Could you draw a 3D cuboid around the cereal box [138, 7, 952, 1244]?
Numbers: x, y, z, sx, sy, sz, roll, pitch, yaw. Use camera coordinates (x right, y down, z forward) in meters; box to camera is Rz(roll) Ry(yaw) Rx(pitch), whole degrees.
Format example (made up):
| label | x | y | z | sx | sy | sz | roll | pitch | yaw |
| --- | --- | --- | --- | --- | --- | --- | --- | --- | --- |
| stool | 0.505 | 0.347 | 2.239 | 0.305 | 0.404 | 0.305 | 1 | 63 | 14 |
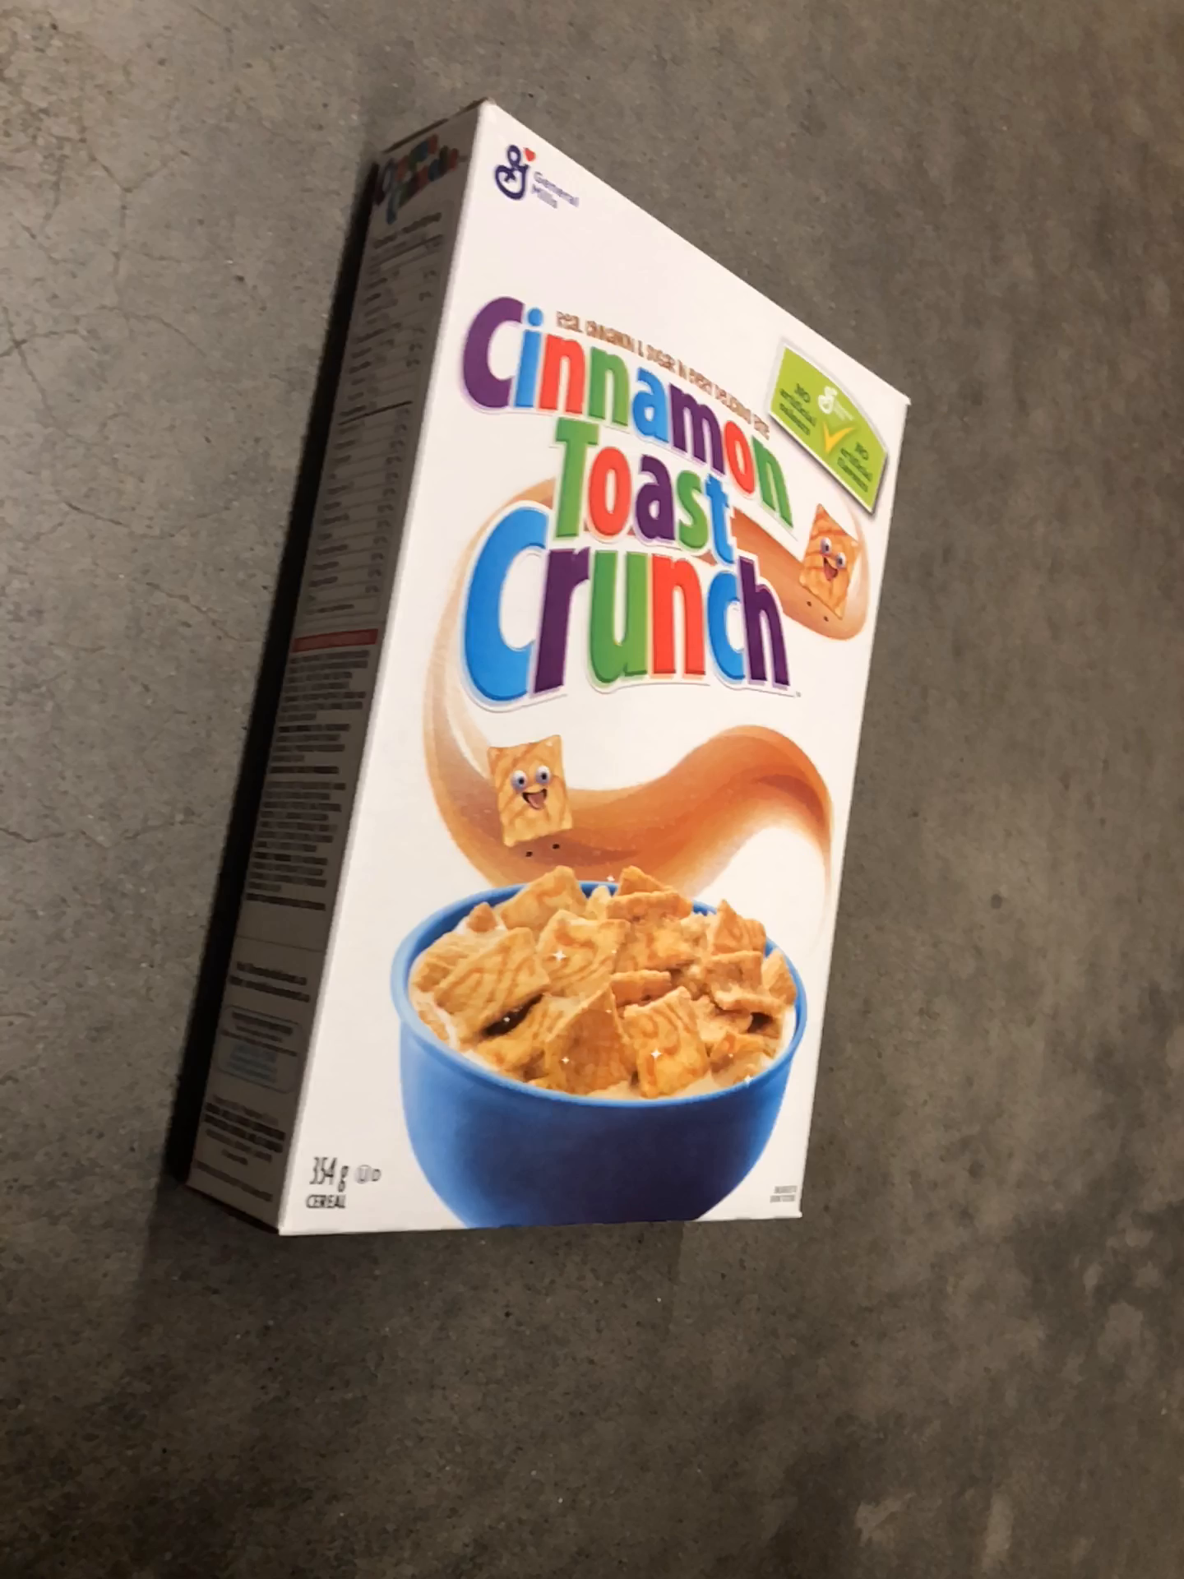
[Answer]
| label | x | y | z | sx | sy | sz | roll | pitch | yaw |
| --- | --- | --- | --- | --- | --- | --- | --- | --- | --- |
| cereal box | 0.004 | -0.026 | 0.383 | 0.201 | 0.060 | 0.290 | 15 | 82 | -41 |
